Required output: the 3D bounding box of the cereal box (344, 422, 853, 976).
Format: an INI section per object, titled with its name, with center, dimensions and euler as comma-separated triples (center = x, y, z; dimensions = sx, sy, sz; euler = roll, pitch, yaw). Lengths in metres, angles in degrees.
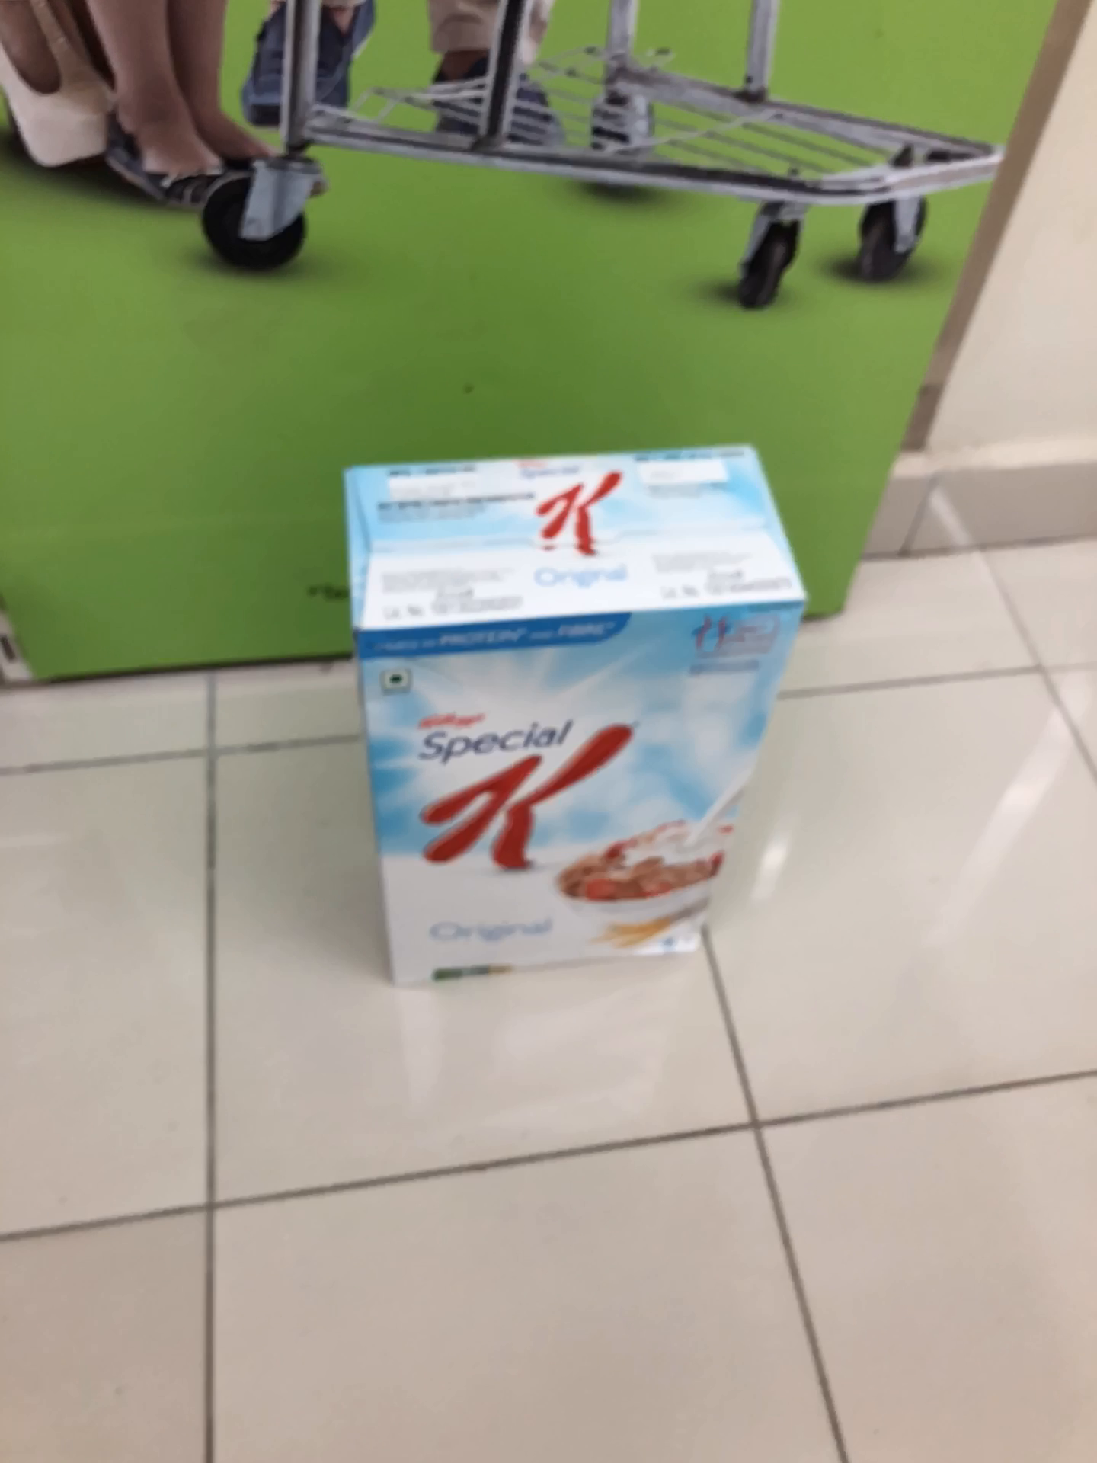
[cereal box]
center = 0.008, 0.001, 0.637
dimensions = 0.200, 0.308, 0.100
euler = -5, 53, -9
